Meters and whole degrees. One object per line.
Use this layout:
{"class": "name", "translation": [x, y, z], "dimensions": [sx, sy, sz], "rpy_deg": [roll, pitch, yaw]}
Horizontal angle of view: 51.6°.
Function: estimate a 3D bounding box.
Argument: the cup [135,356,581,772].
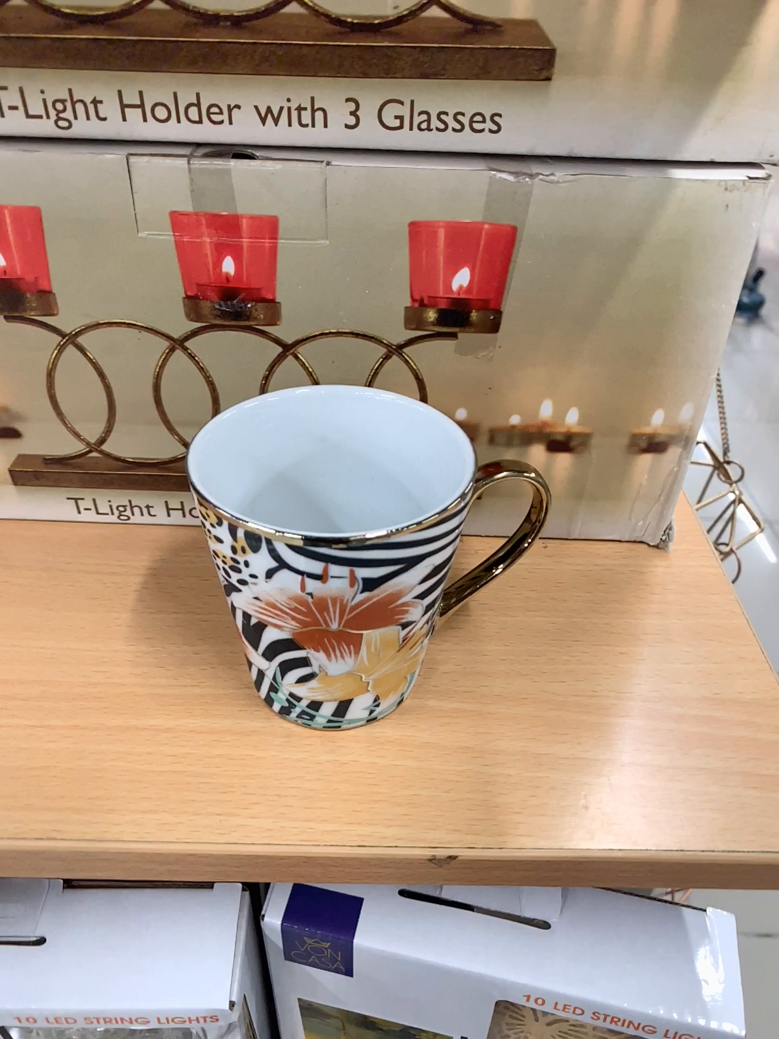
{"class": "cup", "translation": [-0.015, 0.008, 0.227], "dimensions": [0.100, 0.080, 0.070], "rpy_deg": [-6, 37, -14]}
